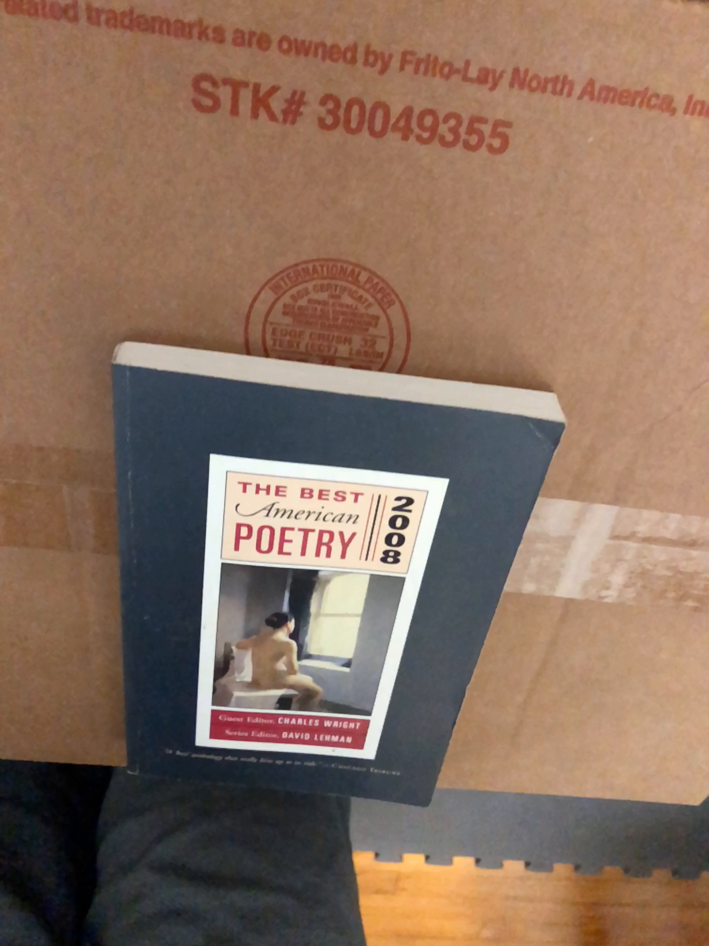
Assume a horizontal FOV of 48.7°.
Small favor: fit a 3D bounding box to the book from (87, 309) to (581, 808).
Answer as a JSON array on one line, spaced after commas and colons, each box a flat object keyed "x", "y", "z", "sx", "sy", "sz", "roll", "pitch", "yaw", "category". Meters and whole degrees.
[{"x": -0.018, "y": 0.054, "z": 0.312, "sx": 0.150, "sy": 0.020, "sz": 0.231, "roll": 6, "pitch": 126, "yaw": -4, "category": "book"}]
